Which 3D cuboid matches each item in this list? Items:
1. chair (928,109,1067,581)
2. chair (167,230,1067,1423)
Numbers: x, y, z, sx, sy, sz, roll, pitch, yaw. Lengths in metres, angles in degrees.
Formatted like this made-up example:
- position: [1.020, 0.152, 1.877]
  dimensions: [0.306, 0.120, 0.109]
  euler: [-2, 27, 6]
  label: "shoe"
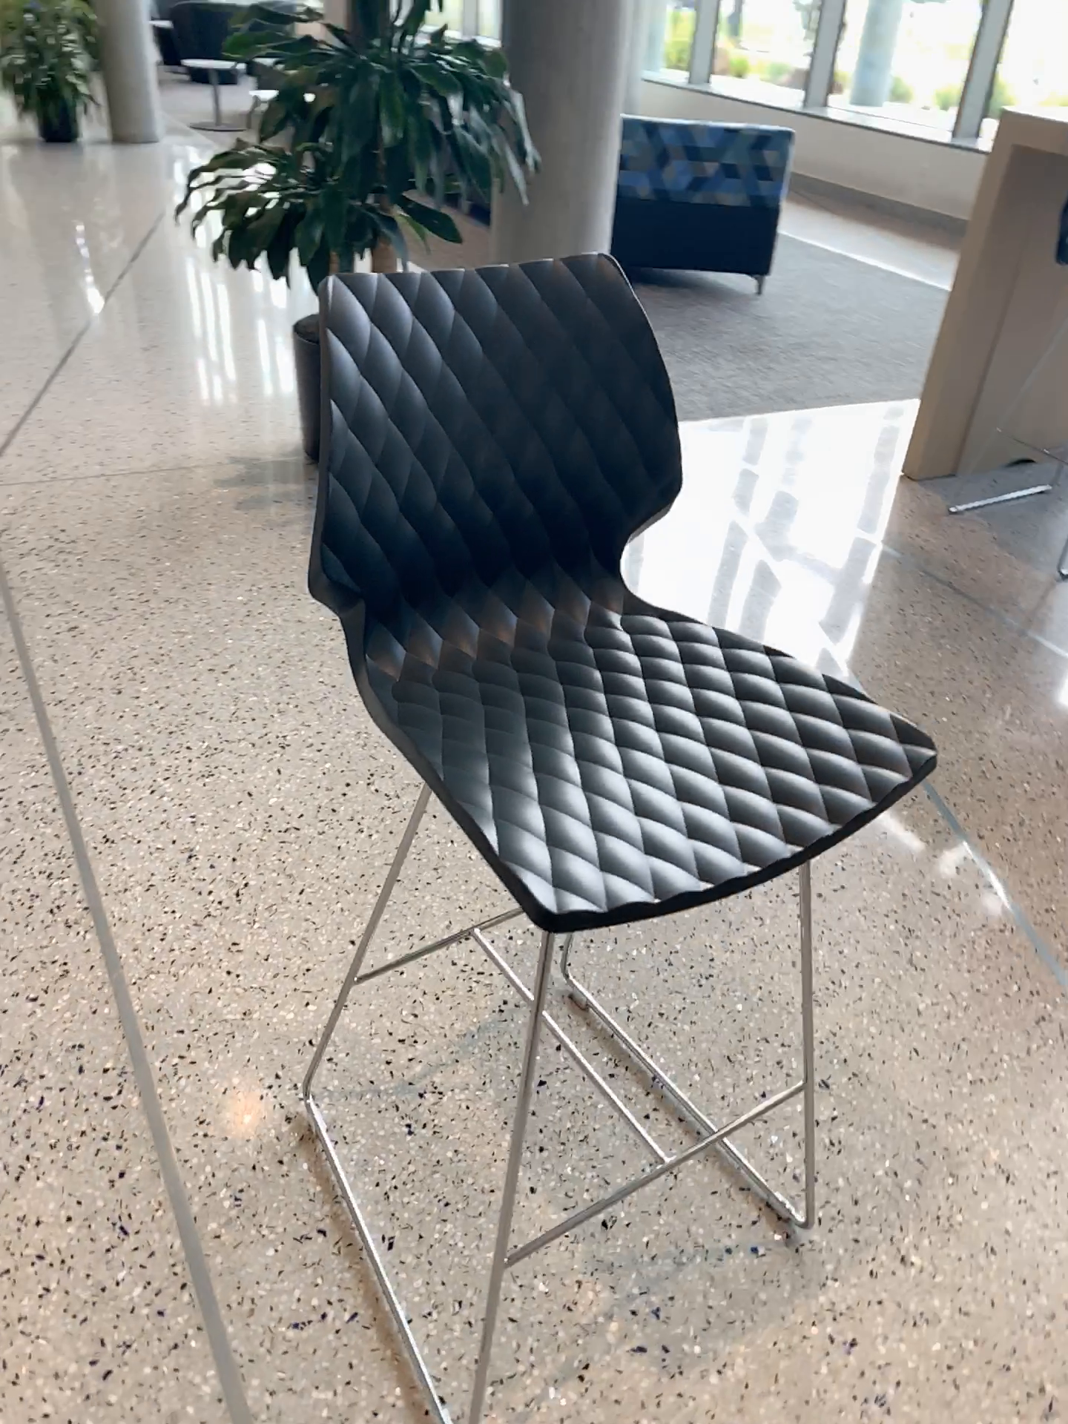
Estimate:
- position: [1.582, -0.974, 2.918]
  dimensions: [0.547, 1.048, 0.535]
  euler: [-11, 36, -22]
  label: "chair"
- position: [0.035, 0.139, 1.111]
  dimensions: [0.532, 1.048, 0.550]
  euler: [-16, 39, -28]
  label: "chair"
